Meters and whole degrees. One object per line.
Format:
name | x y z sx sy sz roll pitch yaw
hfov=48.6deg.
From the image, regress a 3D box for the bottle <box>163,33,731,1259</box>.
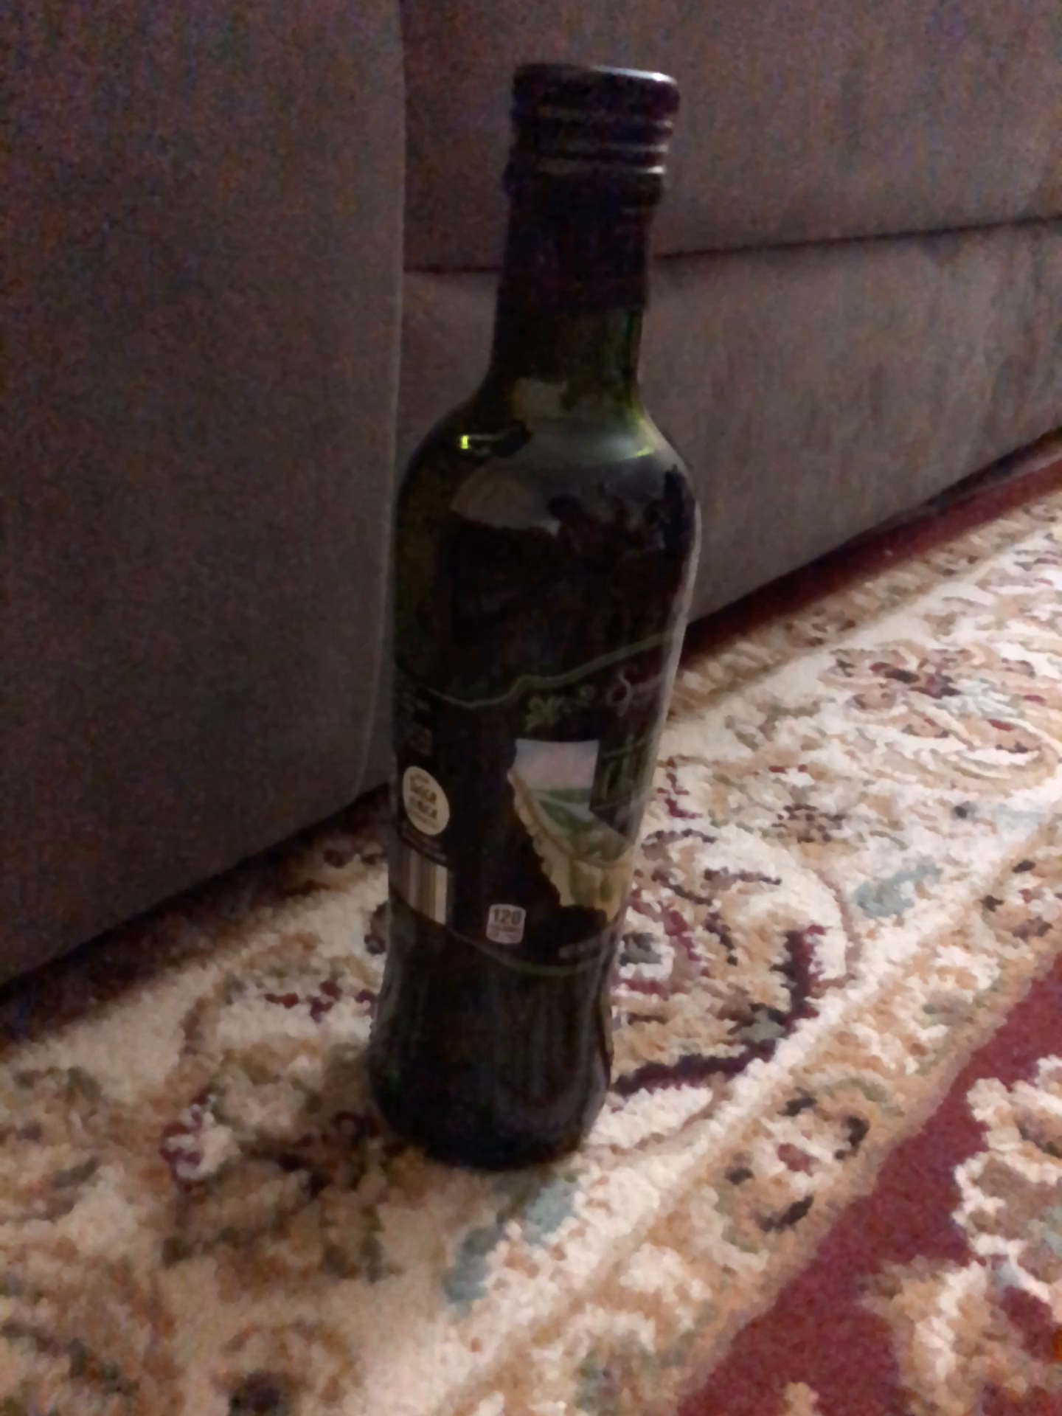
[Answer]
bottle | -0.019 -0.006 0.277 0.070 0.259 0.080 22 32 33
